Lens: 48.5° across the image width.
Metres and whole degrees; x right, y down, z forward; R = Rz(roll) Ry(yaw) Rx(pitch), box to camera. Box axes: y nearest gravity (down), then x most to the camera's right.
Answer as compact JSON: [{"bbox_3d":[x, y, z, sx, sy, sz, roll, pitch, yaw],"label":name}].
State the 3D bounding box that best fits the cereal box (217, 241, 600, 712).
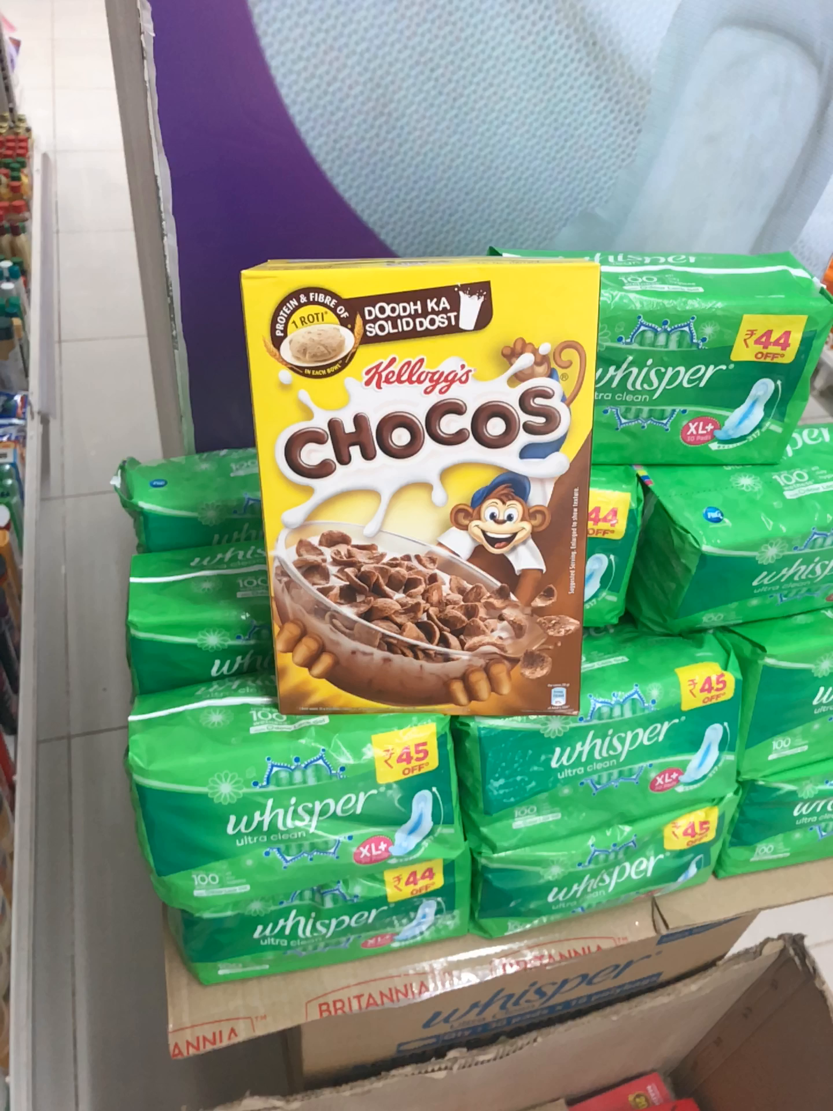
[{"bbox_3d":[0.000,-0.043,0.541,0.190,0.259,0.080,0,21,3],"label":"cereal box"}]
